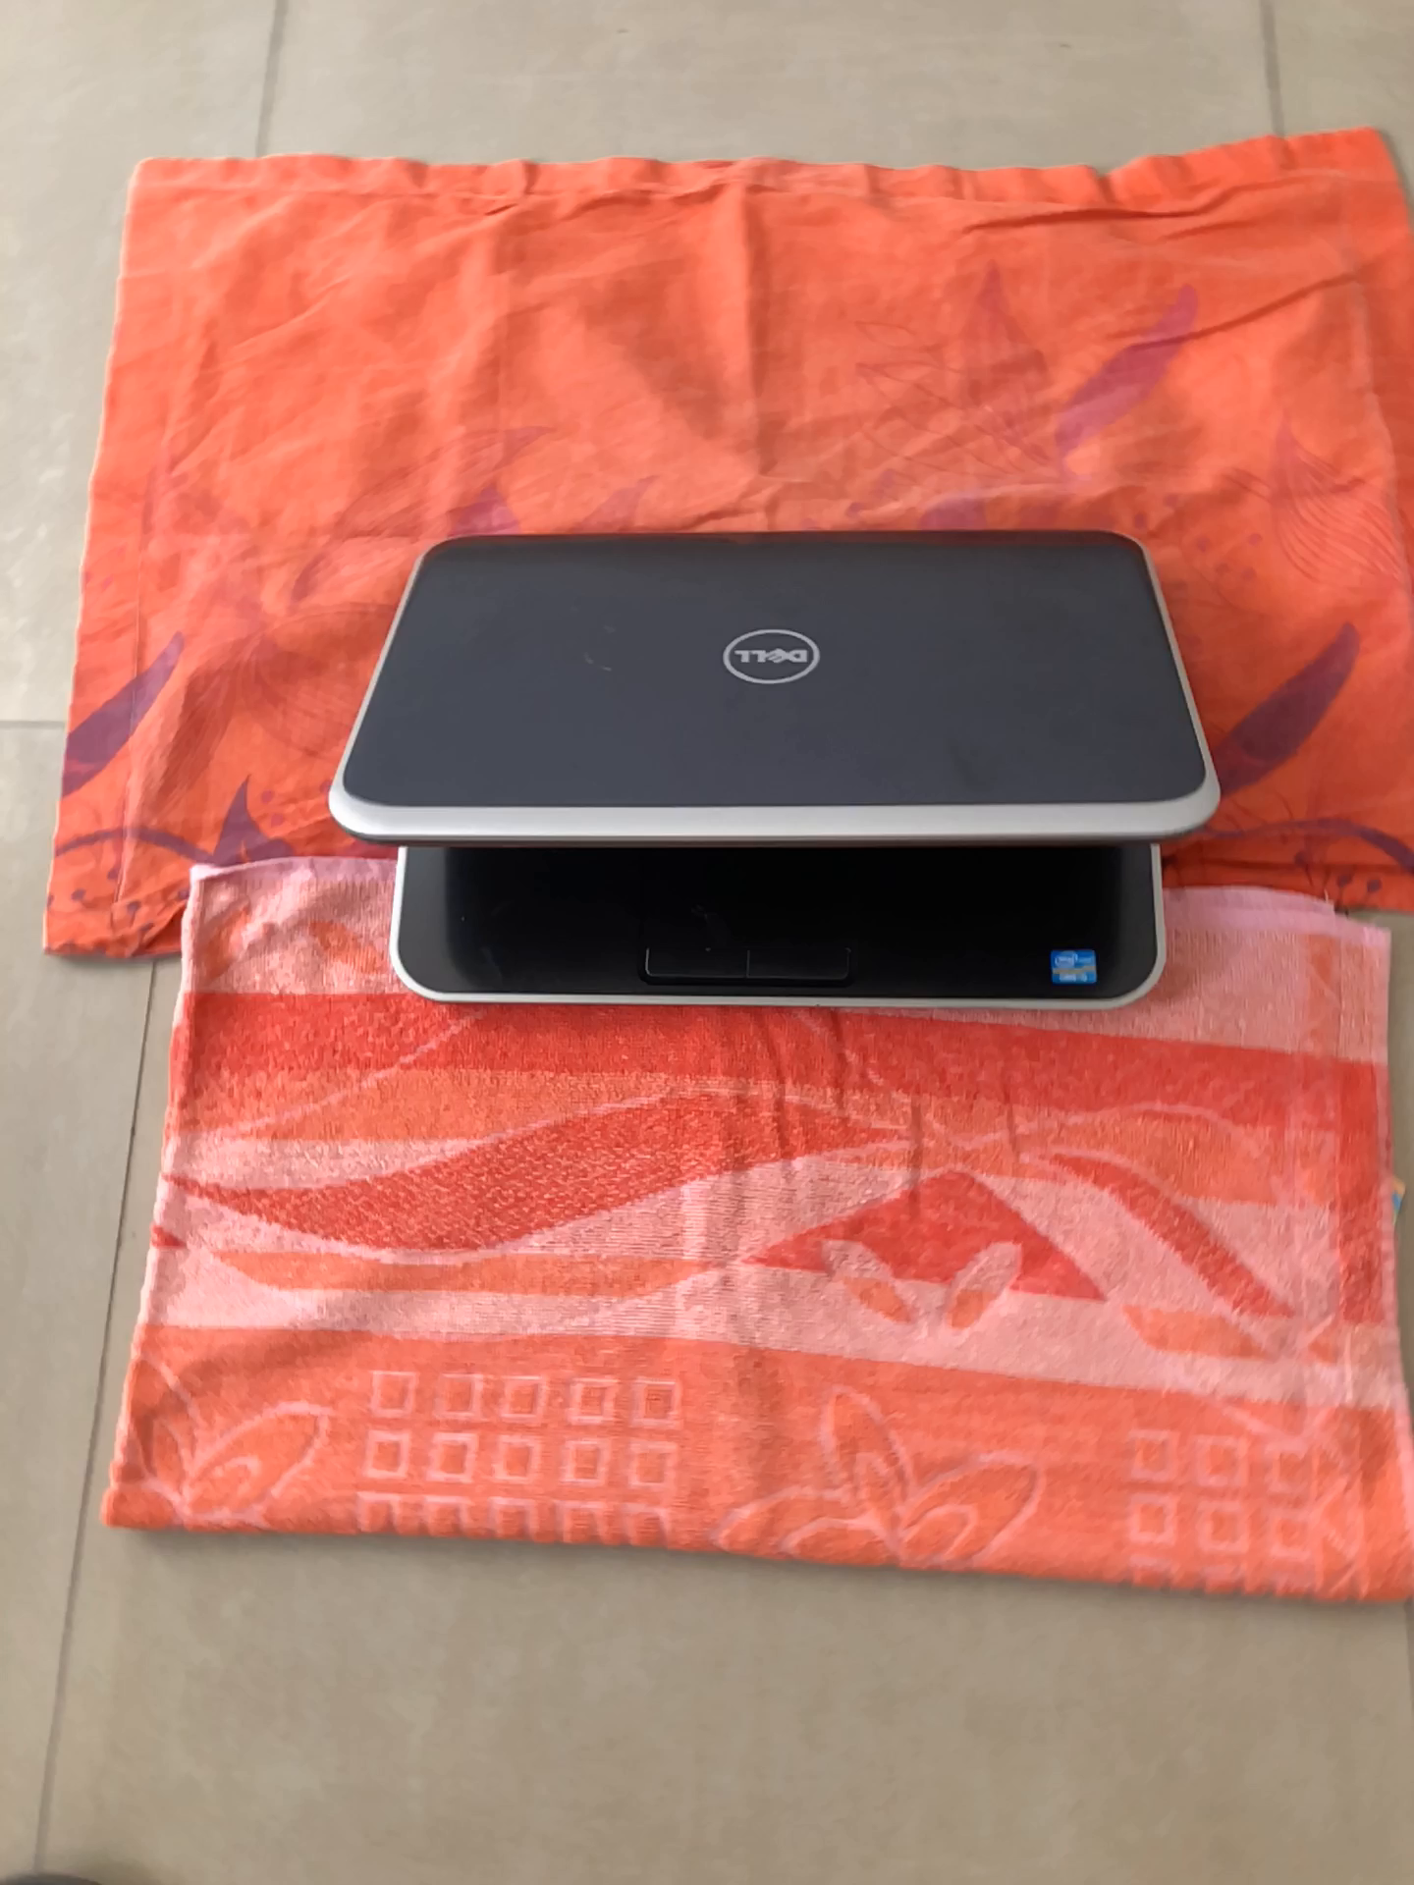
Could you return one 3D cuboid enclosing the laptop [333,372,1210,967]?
[{"bbox_3d":[0.029,-0.120,0.713,0.345,0.129,0.242,0,72,3],"label":"laptop"}]
